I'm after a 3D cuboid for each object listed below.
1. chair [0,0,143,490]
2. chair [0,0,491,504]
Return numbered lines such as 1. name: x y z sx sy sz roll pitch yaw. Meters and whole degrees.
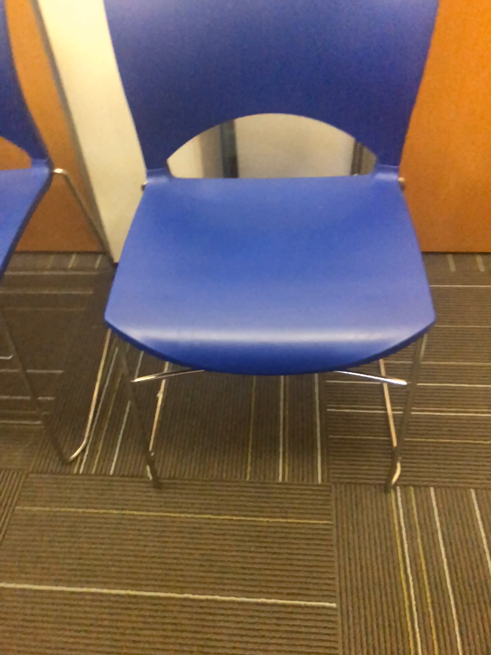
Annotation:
1. chair: -0.584 -0.181 1.053 0.520 0.853 0.635 0 47 3
2. chair: 0.062 -0.162 0.934 0.540 0.773 0.595 1 46 4
